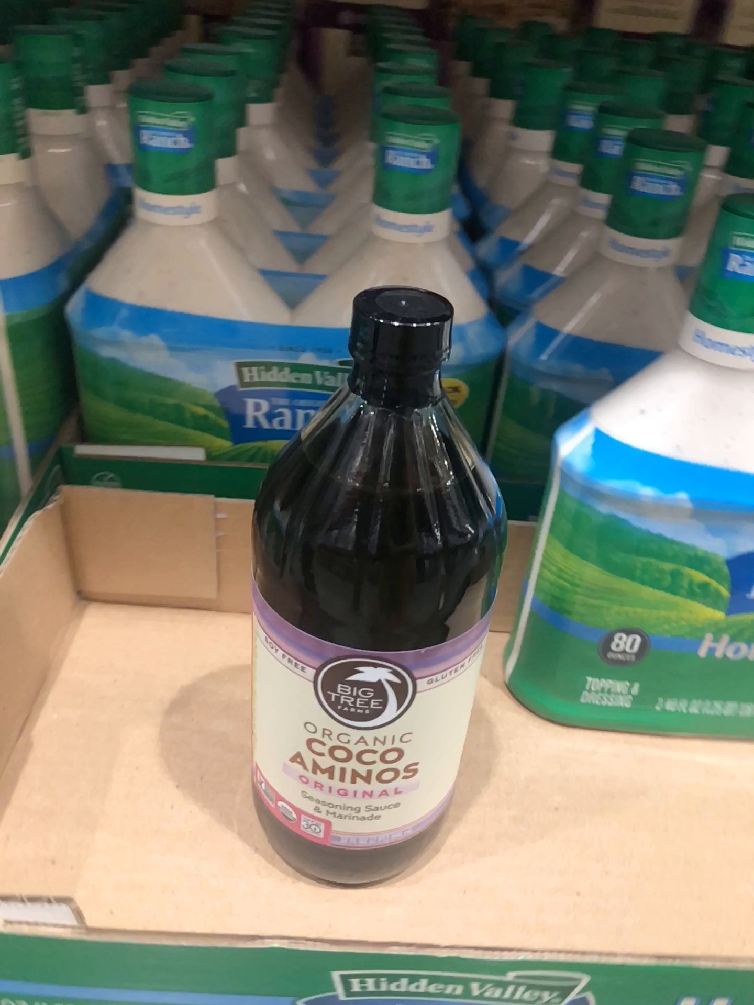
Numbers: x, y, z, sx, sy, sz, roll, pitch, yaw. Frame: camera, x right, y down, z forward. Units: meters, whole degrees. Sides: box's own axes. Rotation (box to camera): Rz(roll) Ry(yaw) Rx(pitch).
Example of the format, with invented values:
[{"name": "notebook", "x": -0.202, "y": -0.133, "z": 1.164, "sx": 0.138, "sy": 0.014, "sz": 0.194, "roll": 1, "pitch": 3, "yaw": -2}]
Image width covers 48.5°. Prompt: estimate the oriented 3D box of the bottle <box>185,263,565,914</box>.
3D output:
[{"name": "bottle", "x": -0.006, "y": 0.042, "z": 0.318, "sx": 0.100, "sy": 0.229, "sz": 0.090, "roll": 8, "pitch": 34, "yaw": 3}]
